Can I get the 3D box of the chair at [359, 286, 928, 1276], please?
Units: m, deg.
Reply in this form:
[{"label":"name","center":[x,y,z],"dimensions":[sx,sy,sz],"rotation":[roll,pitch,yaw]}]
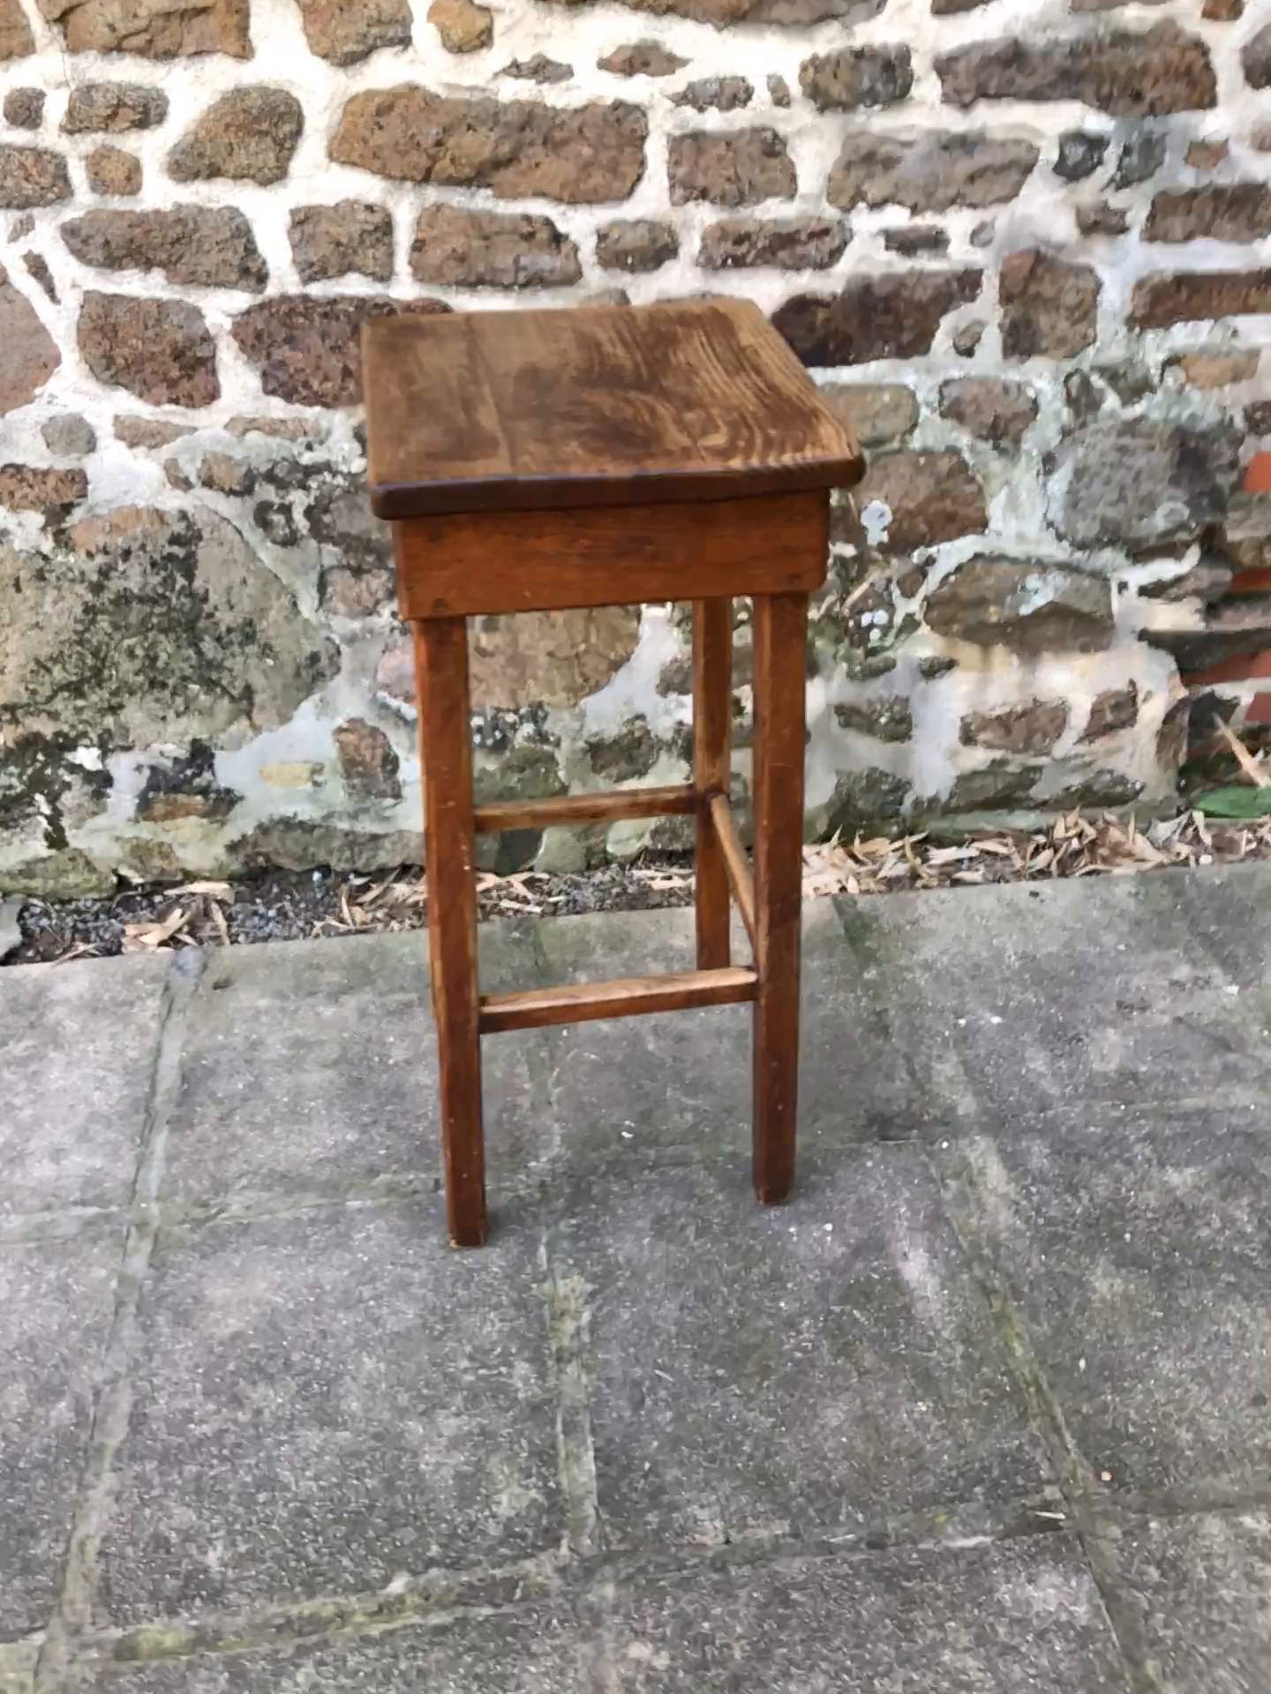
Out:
[{"label":"chair","center":[-0.016,-0.025,1.224],"dimensions":[0.350,0.795,0.332],"rotation":[-6,39,-8]}]
